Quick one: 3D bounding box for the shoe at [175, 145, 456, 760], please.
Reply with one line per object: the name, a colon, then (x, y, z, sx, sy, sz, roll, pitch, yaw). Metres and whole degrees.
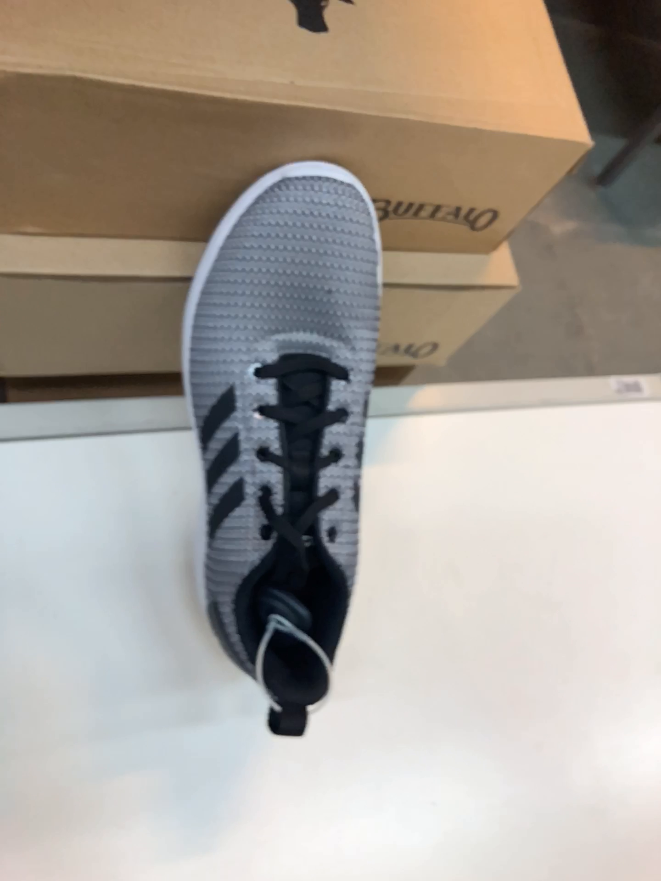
shoe: (-0.020, 0.006, 0.391, 0.112, 0.098, 0.281, -1, 104, -17)
